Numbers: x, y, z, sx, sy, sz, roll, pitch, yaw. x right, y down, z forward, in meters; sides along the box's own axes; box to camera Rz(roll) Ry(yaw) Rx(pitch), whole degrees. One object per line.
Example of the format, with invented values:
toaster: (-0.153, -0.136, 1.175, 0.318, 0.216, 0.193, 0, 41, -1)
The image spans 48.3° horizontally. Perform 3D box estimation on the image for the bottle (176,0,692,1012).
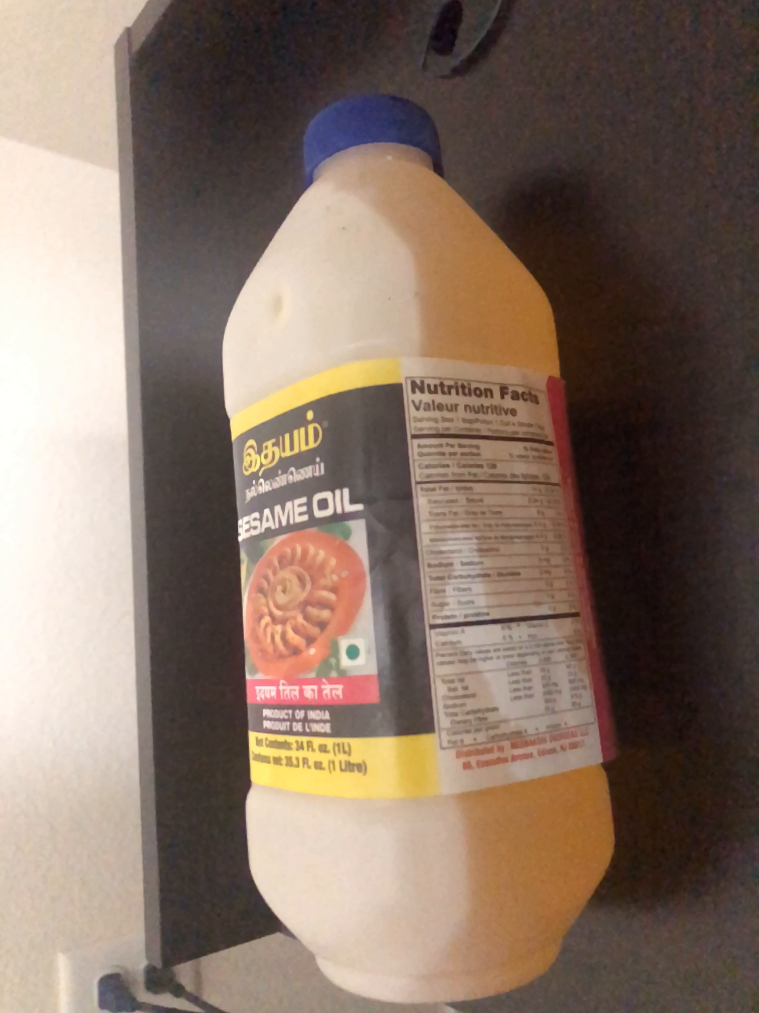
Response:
bottle: (0.007, -0.003, 0.239, 0.091, 0.090, 0.250, -15, 76, 51)
